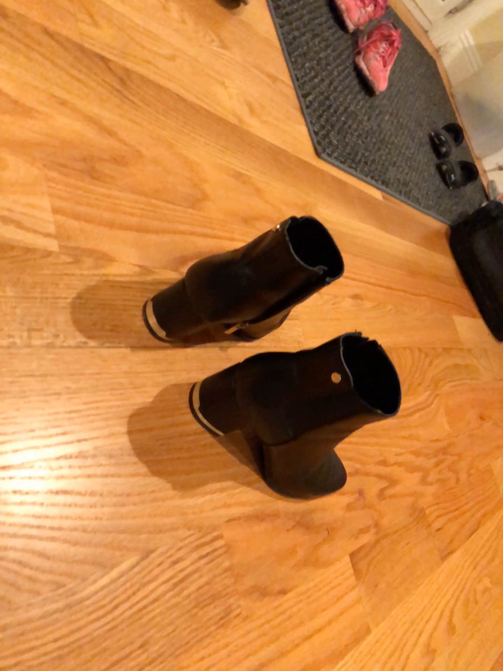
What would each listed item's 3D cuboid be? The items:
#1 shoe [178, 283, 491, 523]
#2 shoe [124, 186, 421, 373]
[{"bbox_3d":[0.087,0.086,0.535,0.253,0.172,0.097,36,44,-36],"label":"shoe"},{"bbox_3d":[0.035,-0.060,0.554,0.254,0.172,0.092,-17,84,-55],"label":"shoe"}]
